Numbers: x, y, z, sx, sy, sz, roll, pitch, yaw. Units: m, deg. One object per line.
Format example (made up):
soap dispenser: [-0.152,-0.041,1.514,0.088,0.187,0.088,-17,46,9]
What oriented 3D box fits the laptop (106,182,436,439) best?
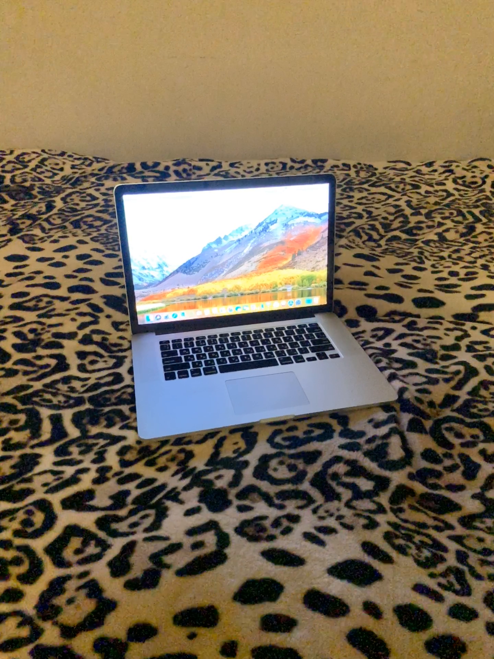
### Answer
laptop: [0.001,-0.050,0.710,0.348,0.222,0.301,-7,35,-11]
